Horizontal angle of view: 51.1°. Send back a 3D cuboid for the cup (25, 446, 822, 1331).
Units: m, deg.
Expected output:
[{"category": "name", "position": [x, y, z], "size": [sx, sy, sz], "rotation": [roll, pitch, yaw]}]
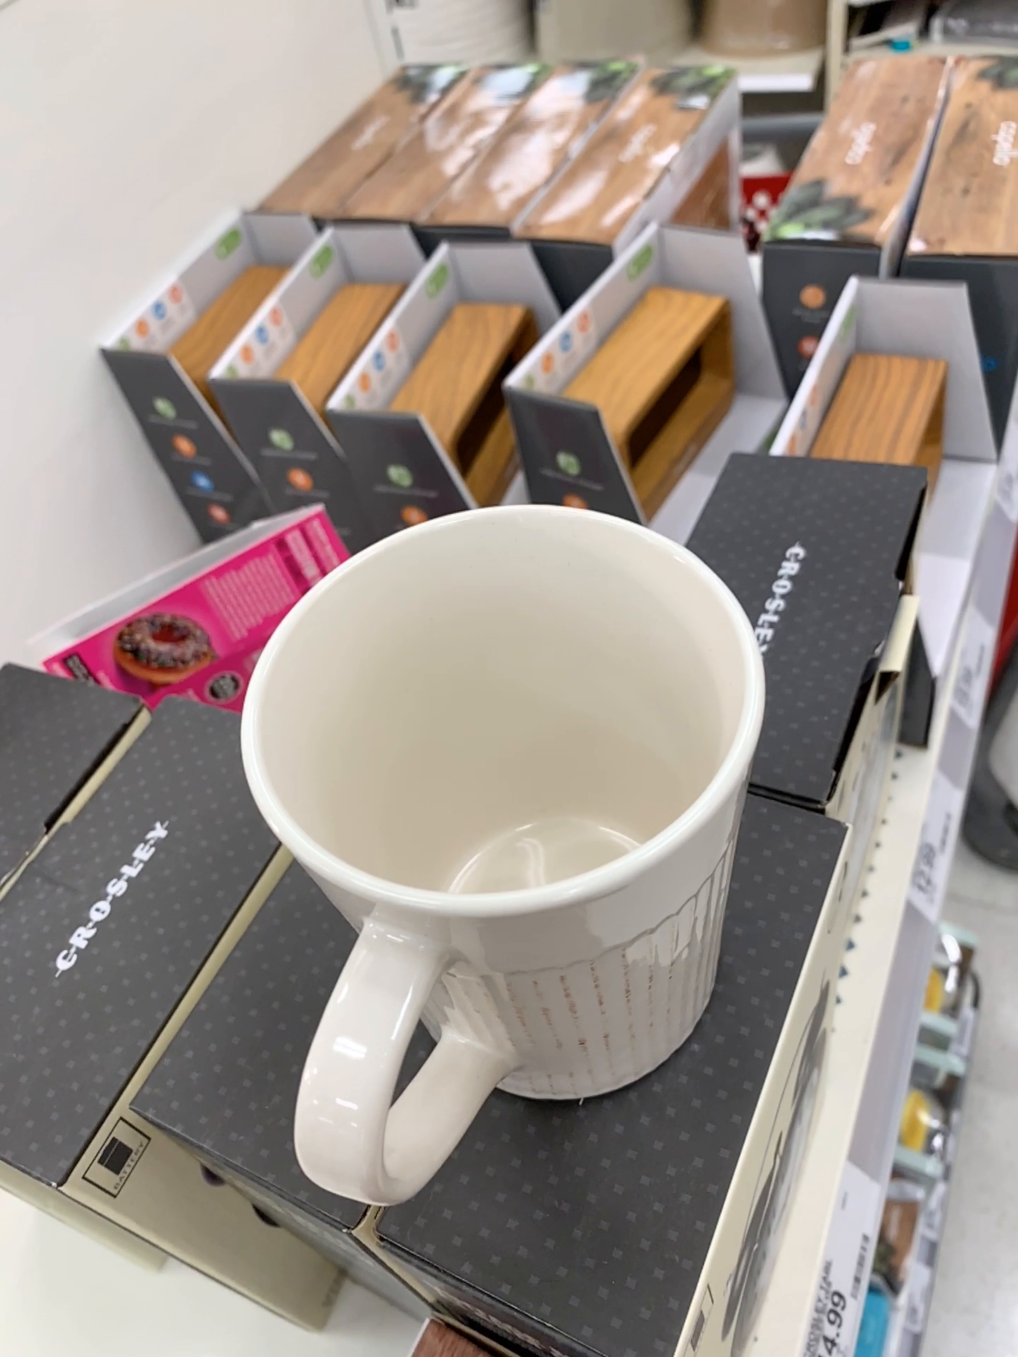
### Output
[{"category": "cup", "position": [-0.002, 0.036, 0.211], "size": [0.084, 0.099, 0.117], "rotation": [18, 53, 24]}]
